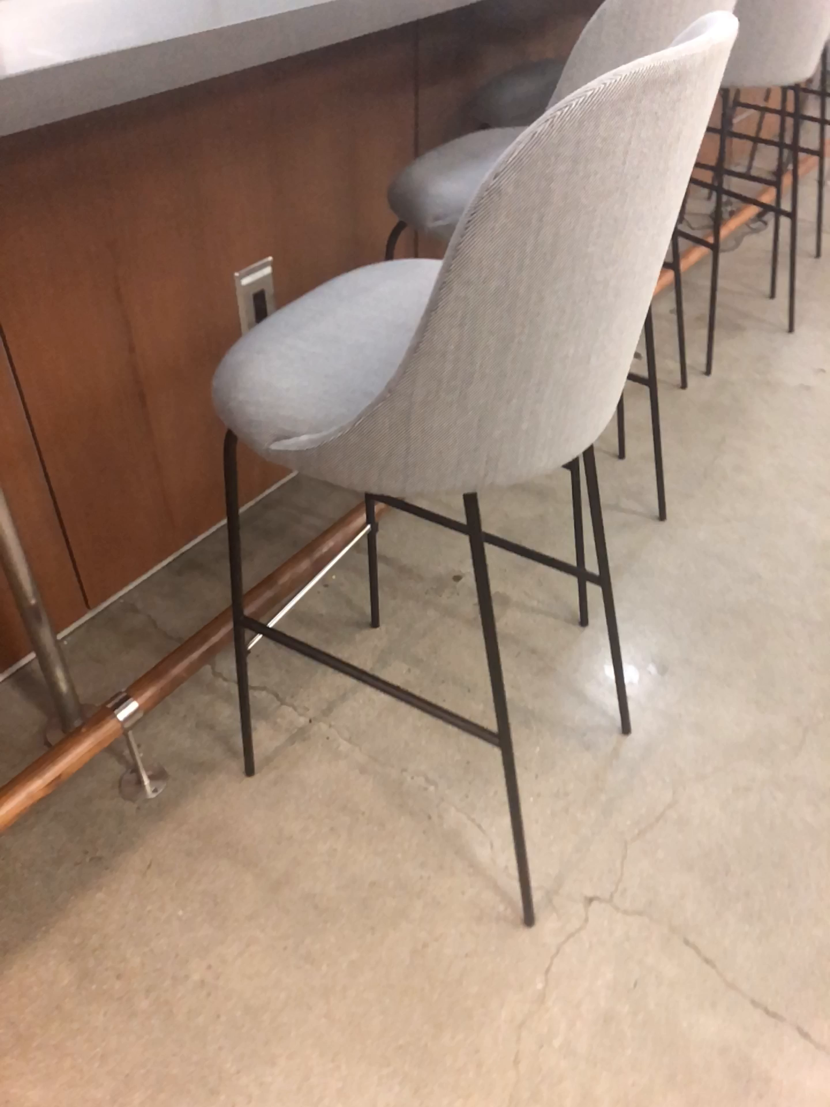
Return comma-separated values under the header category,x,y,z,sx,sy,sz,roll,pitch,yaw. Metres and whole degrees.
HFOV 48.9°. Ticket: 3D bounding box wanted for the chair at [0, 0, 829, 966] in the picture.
category,x,y,z,sx,sy,sz,roll,pitch,yaw
chair,0.021,-0.102,1.191,0.630,1.090,0.514,21,44,24
